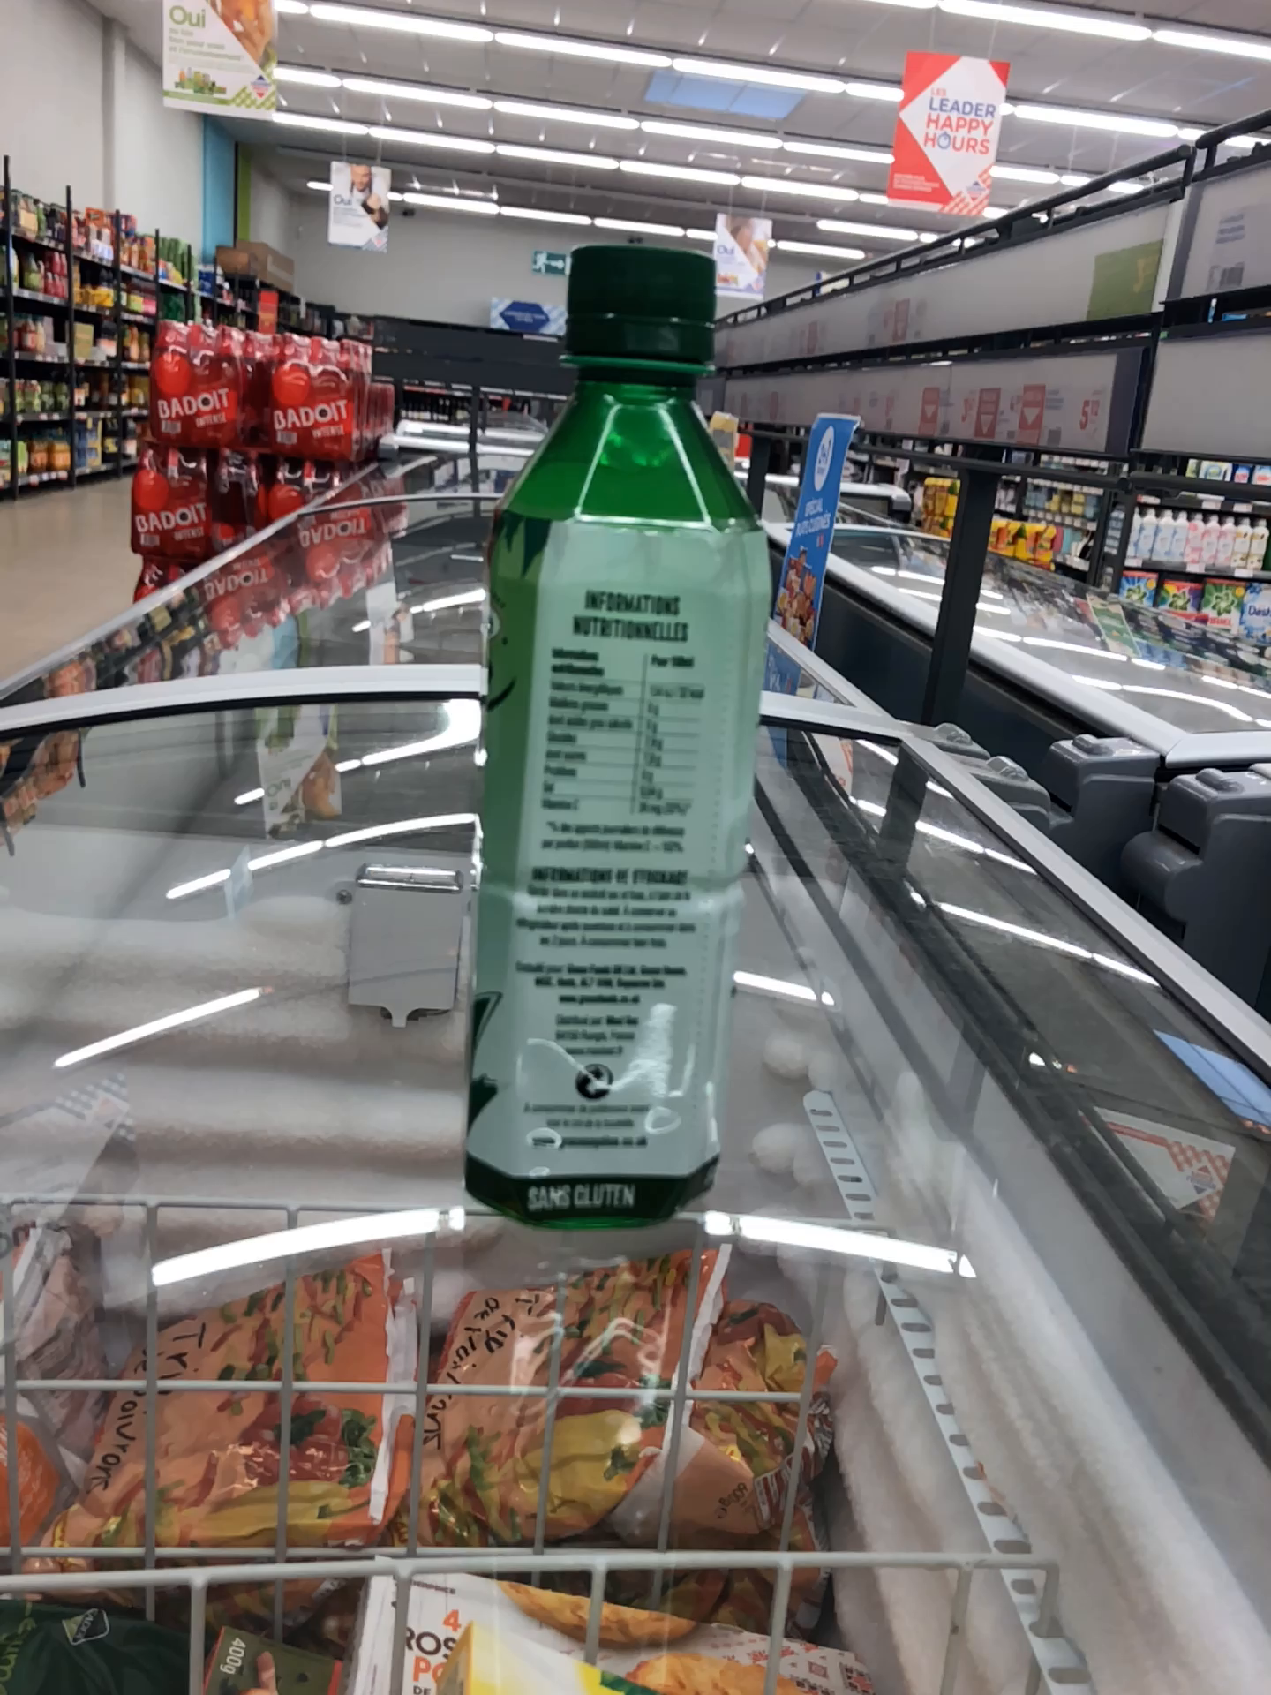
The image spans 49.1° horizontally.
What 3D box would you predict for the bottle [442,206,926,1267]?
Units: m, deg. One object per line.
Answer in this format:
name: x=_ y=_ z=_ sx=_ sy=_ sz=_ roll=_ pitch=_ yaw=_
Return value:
bottle: x=0.001 y=-0.019 z=0.296 sx=0.070 sy=0.199 sz=0.070 roll=6 pitch=16 yaw=-2
